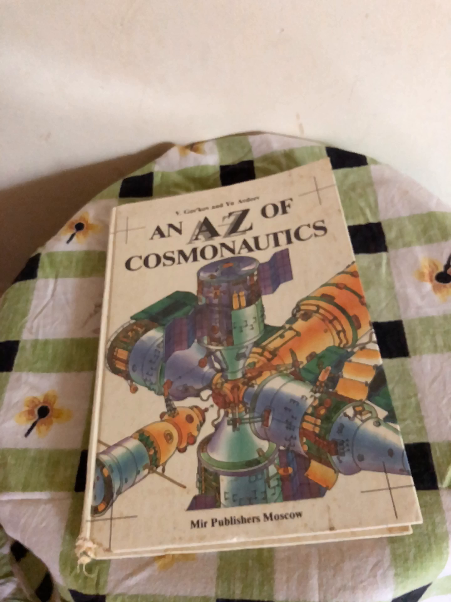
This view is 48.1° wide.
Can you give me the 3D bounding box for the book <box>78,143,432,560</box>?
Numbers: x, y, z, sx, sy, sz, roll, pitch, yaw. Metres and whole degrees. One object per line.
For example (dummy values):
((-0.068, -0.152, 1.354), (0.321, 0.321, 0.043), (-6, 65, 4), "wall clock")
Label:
((0.007, 0.019, 0.353), (0.180, 0.060, 0.271), (-8, 57, 5), "book")
